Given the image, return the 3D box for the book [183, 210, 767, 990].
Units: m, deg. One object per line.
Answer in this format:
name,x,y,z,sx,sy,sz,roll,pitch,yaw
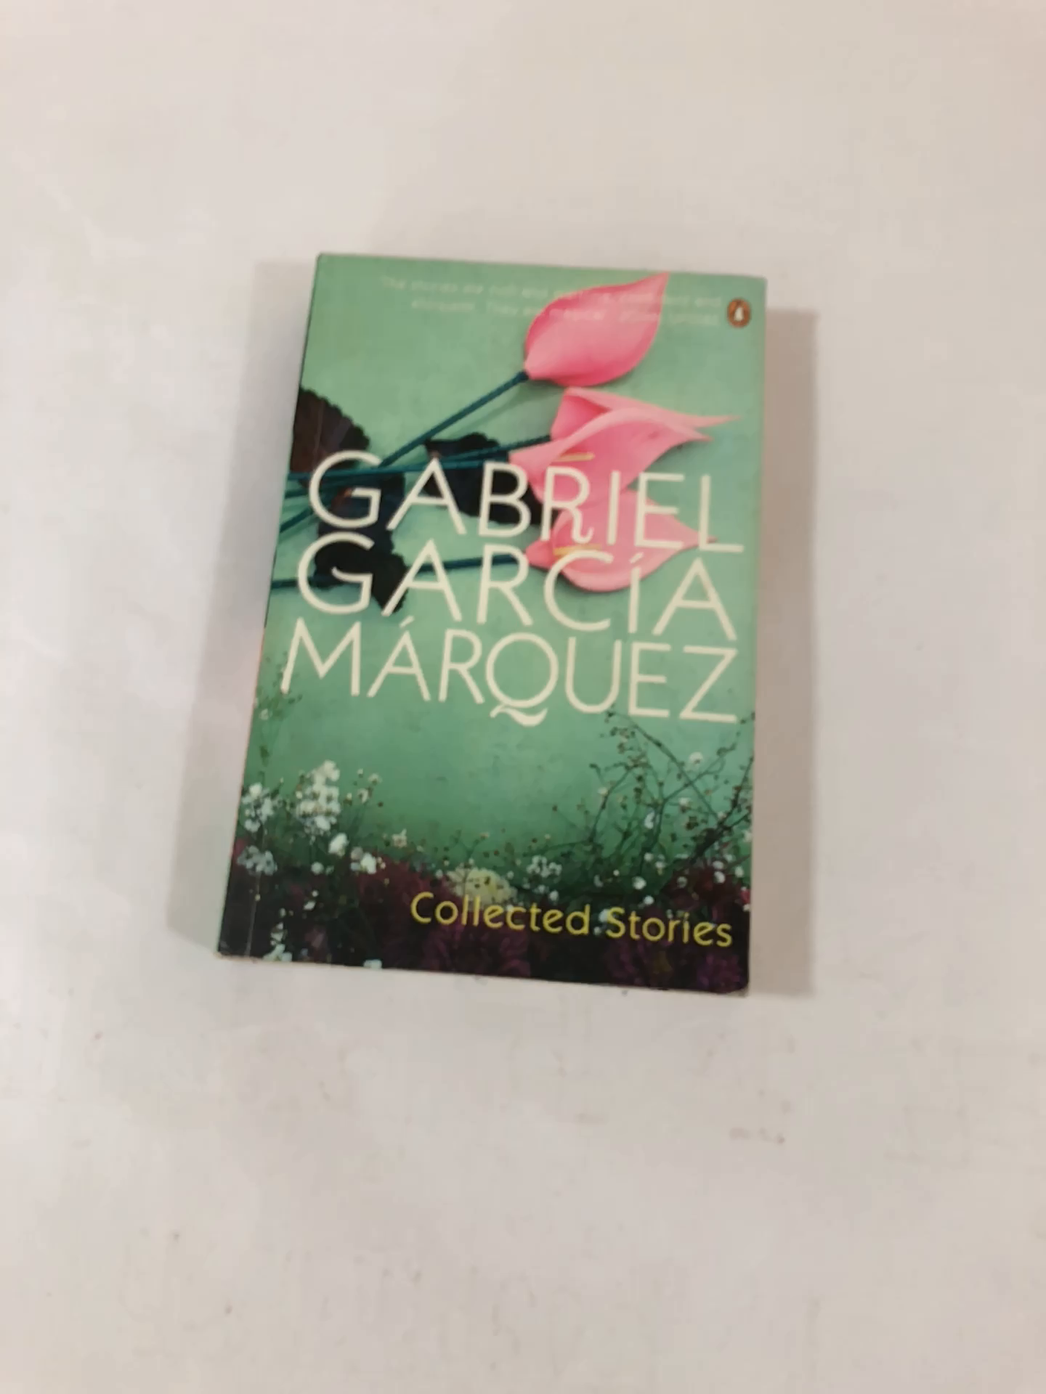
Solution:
book,-0.005,-0.031,0.309,0.130,0.030,0.200,4,73,2
